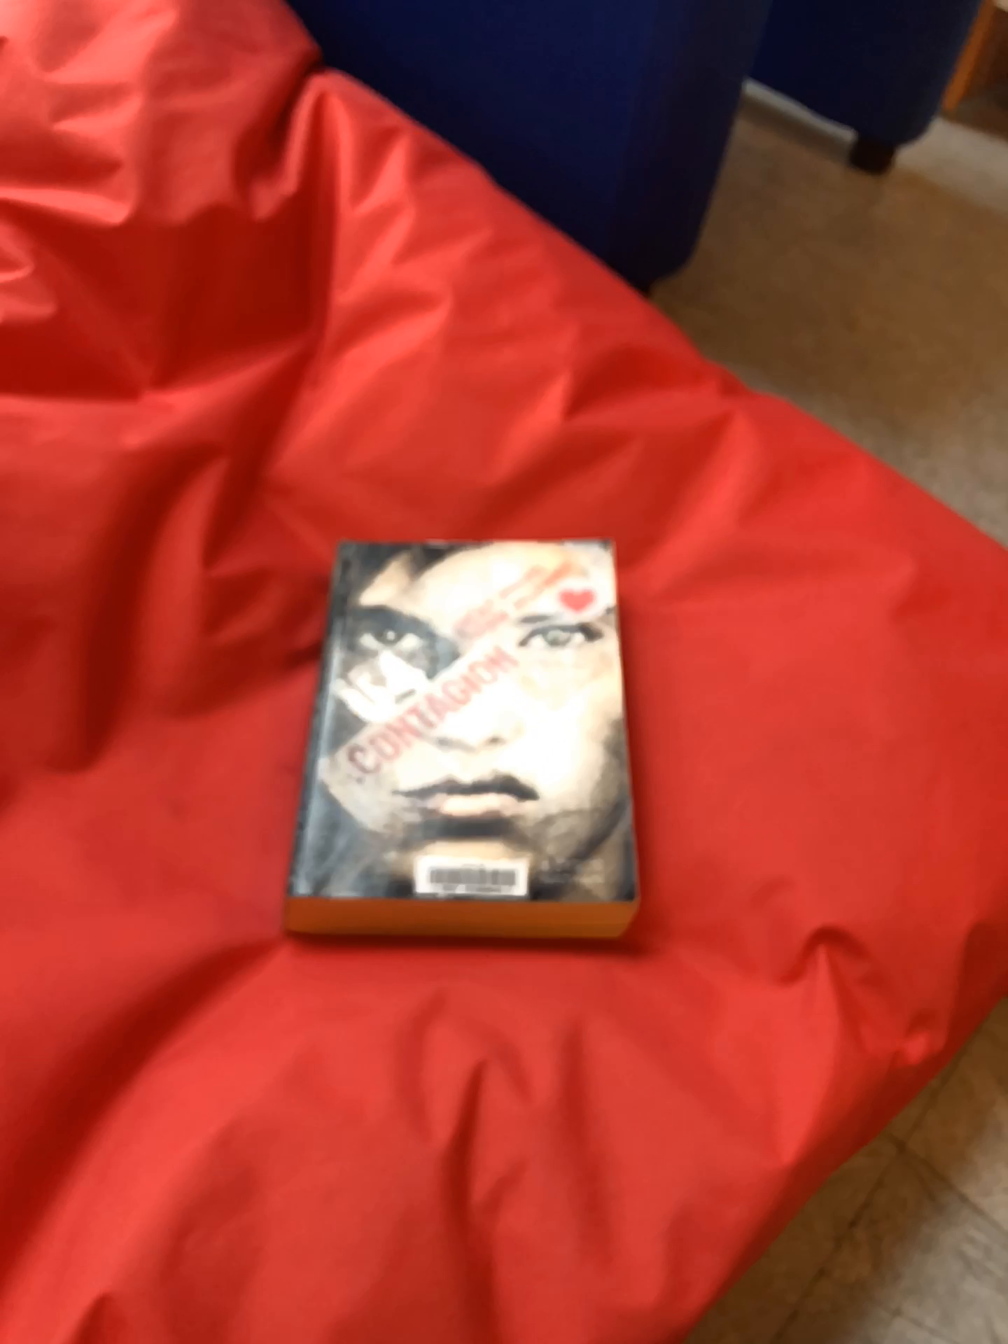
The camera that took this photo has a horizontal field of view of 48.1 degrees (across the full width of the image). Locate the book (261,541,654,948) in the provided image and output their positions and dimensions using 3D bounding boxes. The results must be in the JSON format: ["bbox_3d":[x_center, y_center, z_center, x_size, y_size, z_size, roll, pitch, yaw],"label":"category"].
[{"bbox_3d":[-0.019,0.026,0.564,0.166,0.038,0.226,0,49,0],"label":"book"}]
